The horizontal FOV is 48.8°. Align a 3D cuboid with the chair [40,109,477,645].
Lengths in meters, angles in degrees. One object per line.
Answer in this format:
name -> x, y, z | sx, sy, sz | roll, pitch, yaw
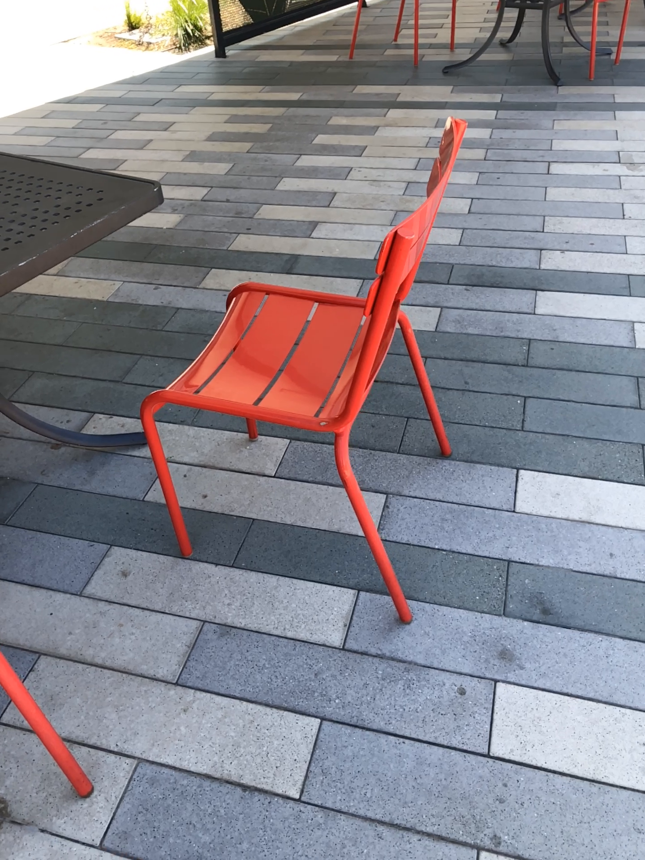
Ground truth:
chair -> -0.040, -0.118, 1.586 | 0.631, 0.955, 0.612 | 7, 40, 14
